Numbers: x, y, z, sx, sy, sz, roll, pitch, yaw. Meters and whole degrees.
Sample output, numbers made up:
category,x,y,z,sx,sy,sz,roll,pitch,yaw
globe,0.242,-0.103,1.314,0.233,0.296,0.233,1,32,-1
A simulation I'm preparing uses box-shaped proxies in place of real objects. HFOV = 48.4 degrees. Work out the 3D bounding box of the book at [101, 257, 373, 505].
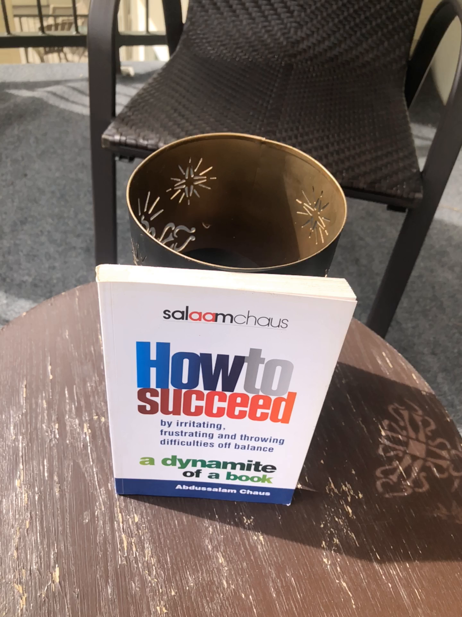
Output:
category,x,y,z,sx,sy,sz,roll,pitch,yaw
book,-0.007,0.063,0.333,0.138,0.207,0.018,4,40,-4
